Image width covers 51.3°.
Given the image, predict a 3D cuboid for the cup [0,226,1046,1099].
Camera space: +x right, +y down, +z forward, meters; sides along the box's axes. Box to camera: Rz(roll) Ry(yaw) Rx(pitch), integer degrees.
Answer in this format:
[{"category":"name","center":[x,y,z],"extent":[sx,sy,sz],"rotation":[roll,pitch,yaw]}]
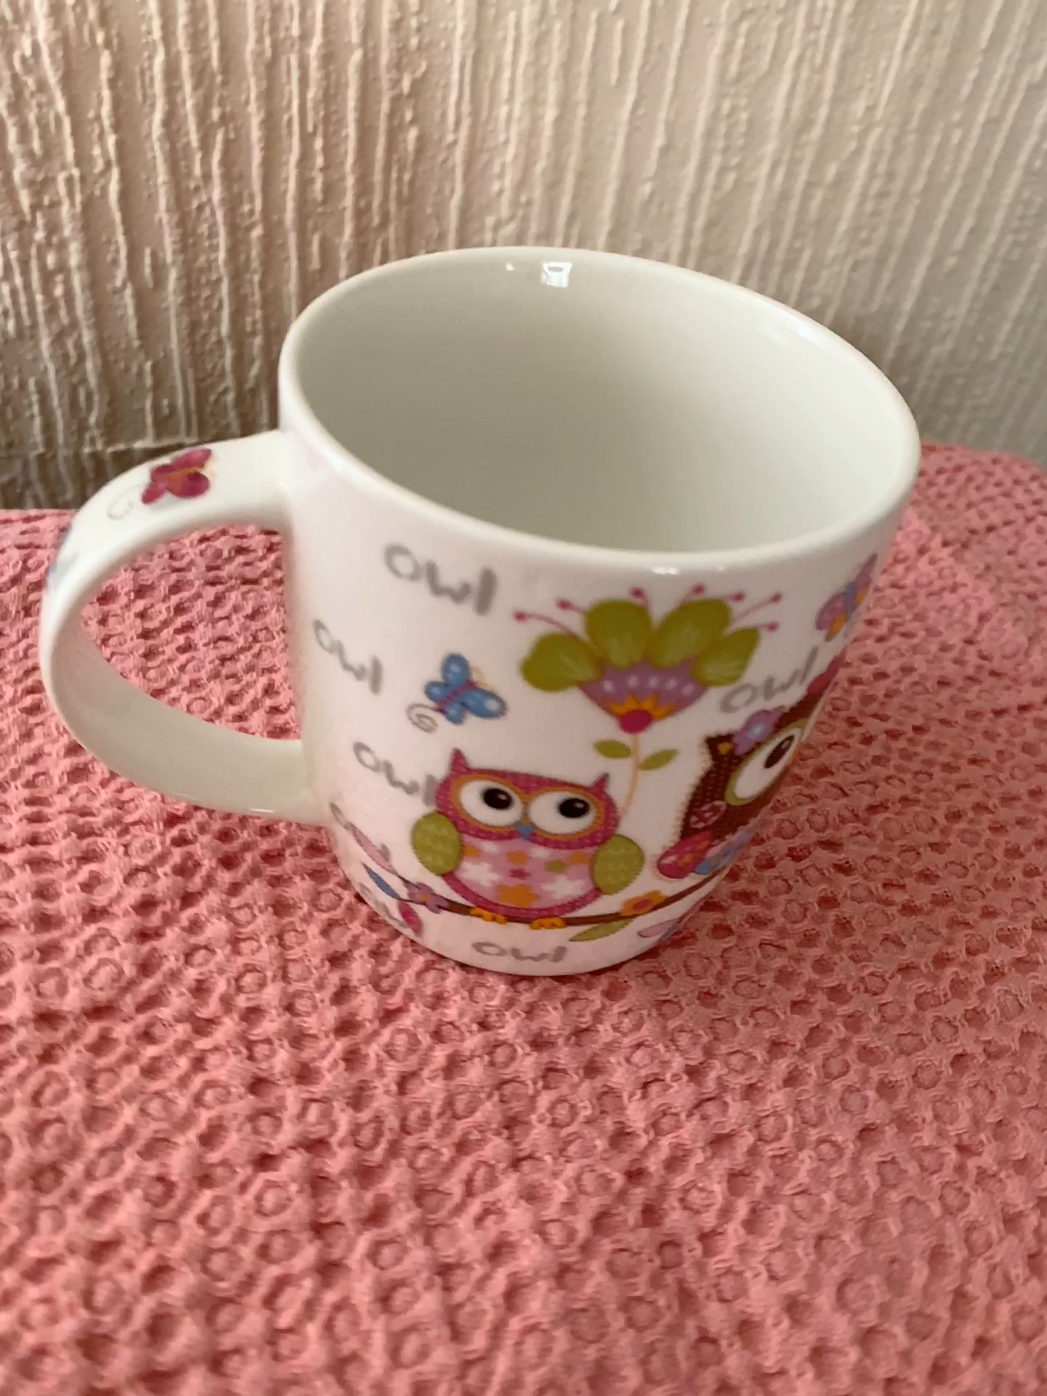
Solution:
[{"category":"cup","center":[-0.011,-0.009,0.174],"extent":[0.120,0.089,0.091],"rotation":[-4,45,-14]}]
